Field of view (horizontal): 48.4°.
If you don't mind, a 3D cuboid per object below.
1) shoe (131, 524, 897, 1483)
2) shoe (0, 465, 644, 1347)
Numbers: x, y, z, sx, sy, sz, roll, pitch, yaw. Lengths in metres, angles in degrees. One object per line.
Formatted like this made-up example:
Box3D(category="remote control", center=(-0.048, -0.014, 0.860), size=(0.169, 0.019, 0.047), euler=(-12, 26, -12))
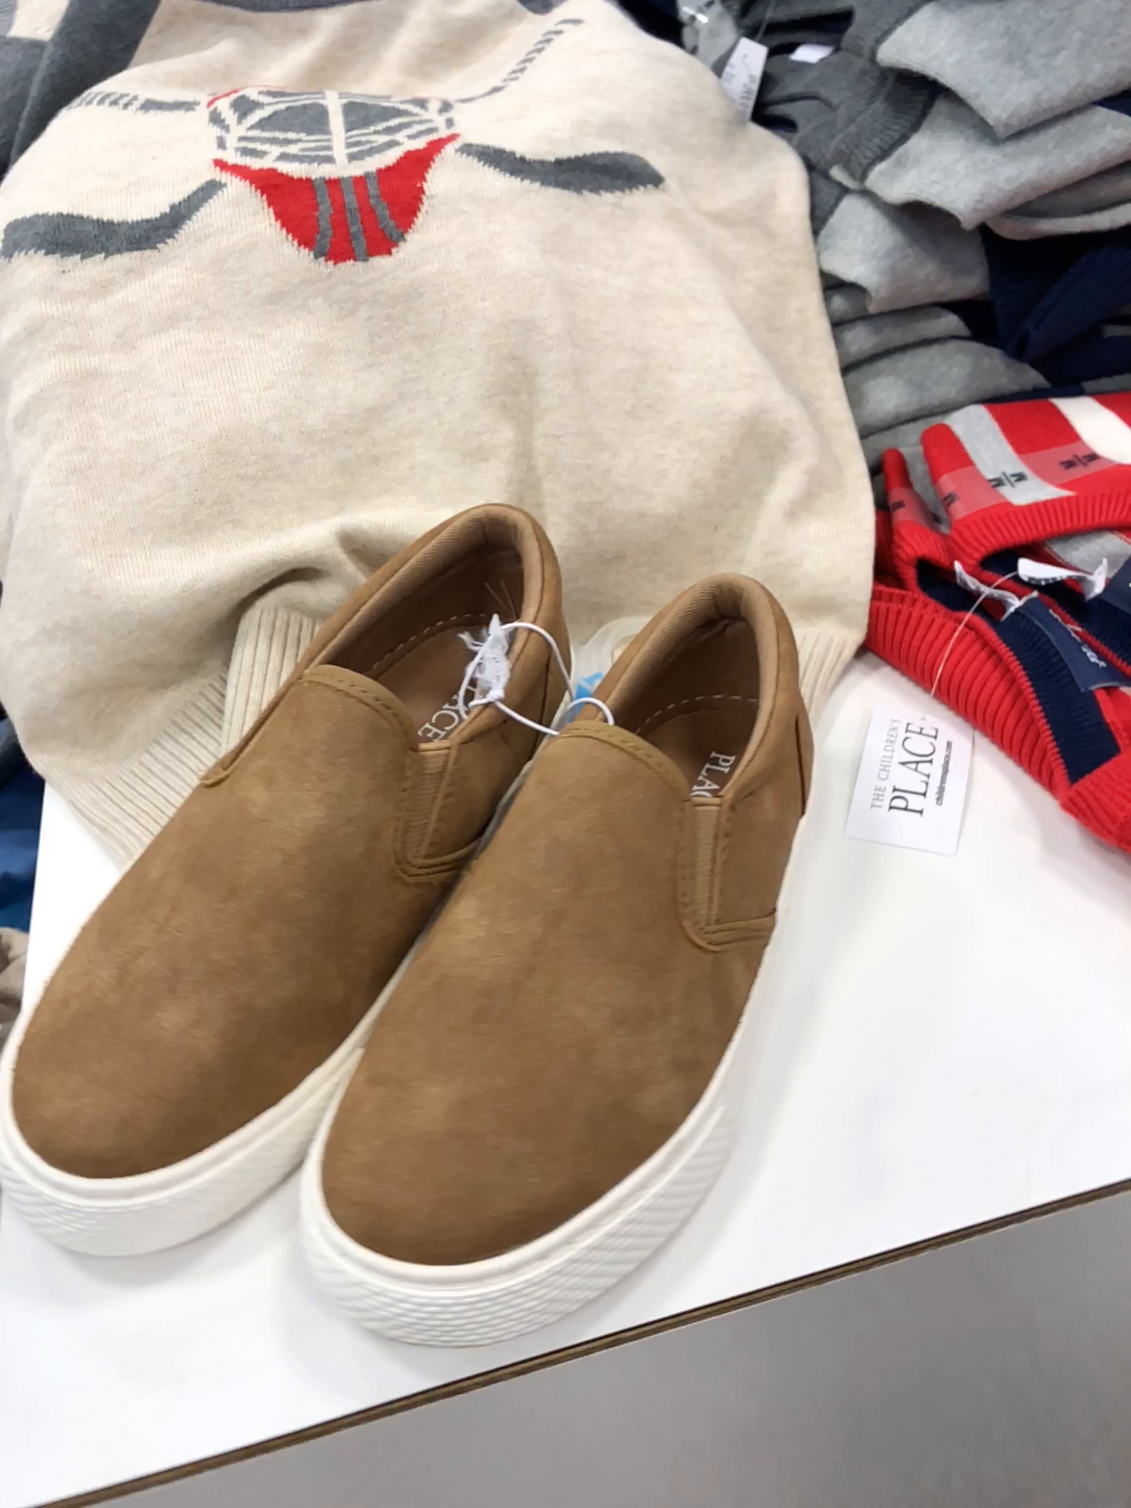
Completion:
Box3D(category="shoe", center=(0.010, 0.036, 0.322), size=(0.092, 0.080, 0.231), euler=(12, 41, 20))
Box3D(category="shoe", center=(-0.071, 0.015, 0.334), size=(0.092, 0.080, 0.231), euler=(16, 42, 24))
